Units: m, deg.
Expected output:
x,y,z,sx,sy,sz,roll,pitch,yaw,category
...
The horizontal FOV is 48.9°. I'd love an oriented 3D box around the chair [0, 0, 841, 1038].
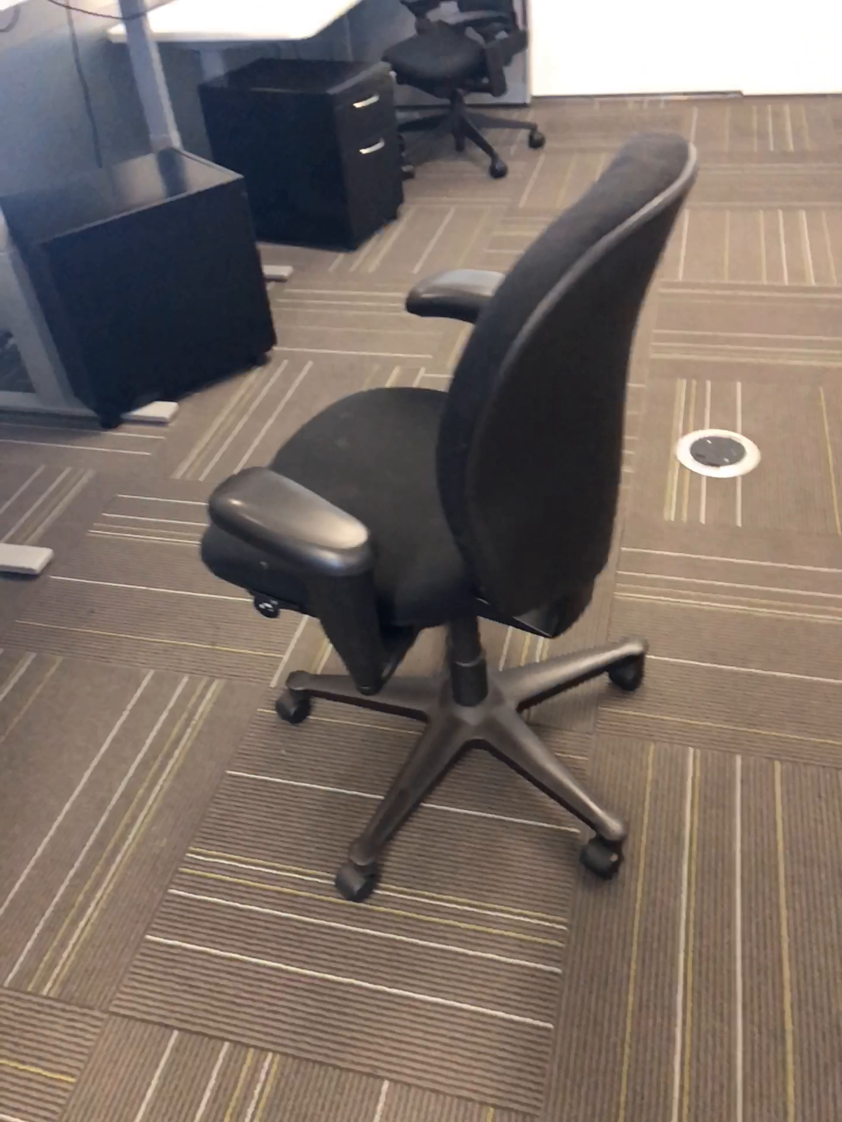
x,y,z,sx,sy,sz,roll,pitch,yaw,category
0.007,-0.084,1.207,0.682,0.995,0.702,18,46,27,chair
